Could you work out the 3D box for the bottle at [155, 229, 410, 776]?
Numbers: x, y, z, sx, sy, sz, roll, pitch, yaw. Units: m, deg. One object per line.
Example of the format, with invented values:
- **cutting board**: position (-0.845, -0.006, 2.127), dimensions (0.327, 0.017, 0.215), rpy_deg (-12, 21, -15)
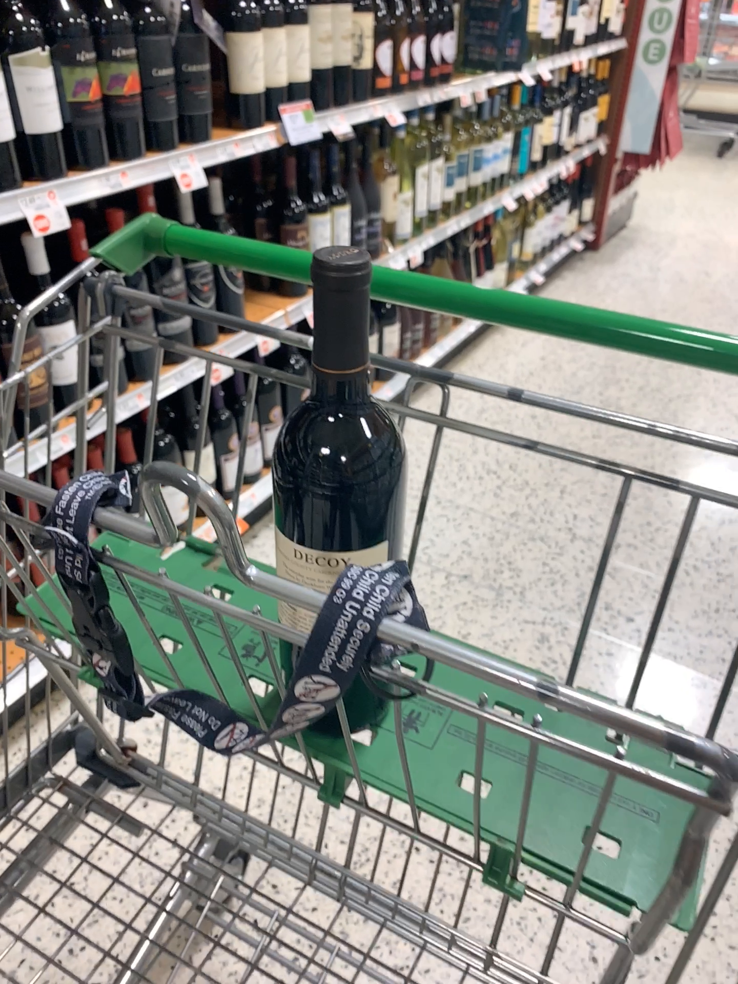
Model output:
- **bottle**: position (-0.039, 0.020, 0.432), dimensions (0.090, 0.297, 0.091), rpy_deg (1, 34, -1)
